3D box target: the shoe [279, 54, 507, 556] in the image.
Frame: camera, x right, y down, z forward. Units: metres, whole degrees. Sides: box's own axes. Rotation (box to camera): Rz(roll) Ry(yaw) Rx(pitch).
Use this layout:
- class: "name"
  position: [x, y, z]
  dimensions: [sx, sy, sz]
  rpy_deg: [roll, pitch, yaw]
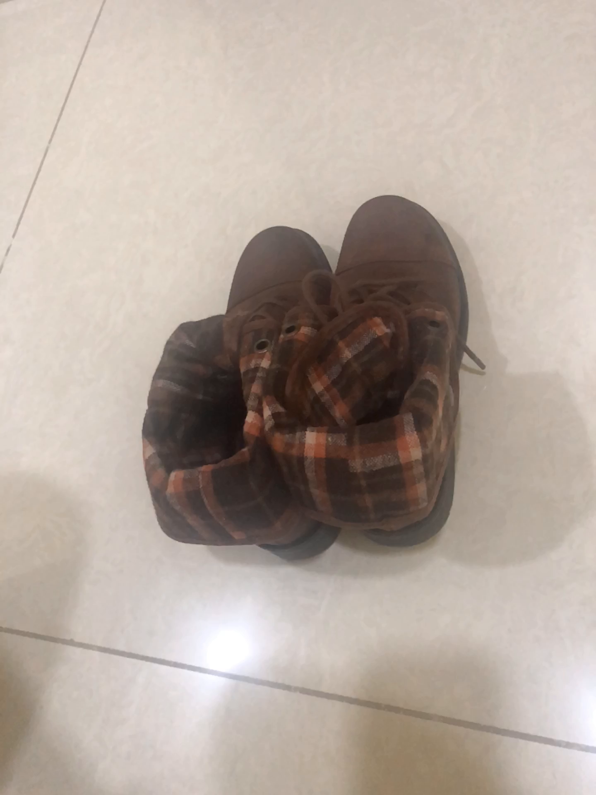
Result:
- class: "shoe"
  position: [0.059, -0.053, 0.421]
  dimensions: [0.100, 0.140, 0.270]
  rpy_deg: [-8, 63, 16]

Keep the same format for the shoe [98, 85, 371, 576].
- class: "shoe"
  position: [-0.037, -0.040, 0.452]
  dimensions: [0.110, 0.150, 0.280]
  rpy_deg: [-12, 62, 14]
